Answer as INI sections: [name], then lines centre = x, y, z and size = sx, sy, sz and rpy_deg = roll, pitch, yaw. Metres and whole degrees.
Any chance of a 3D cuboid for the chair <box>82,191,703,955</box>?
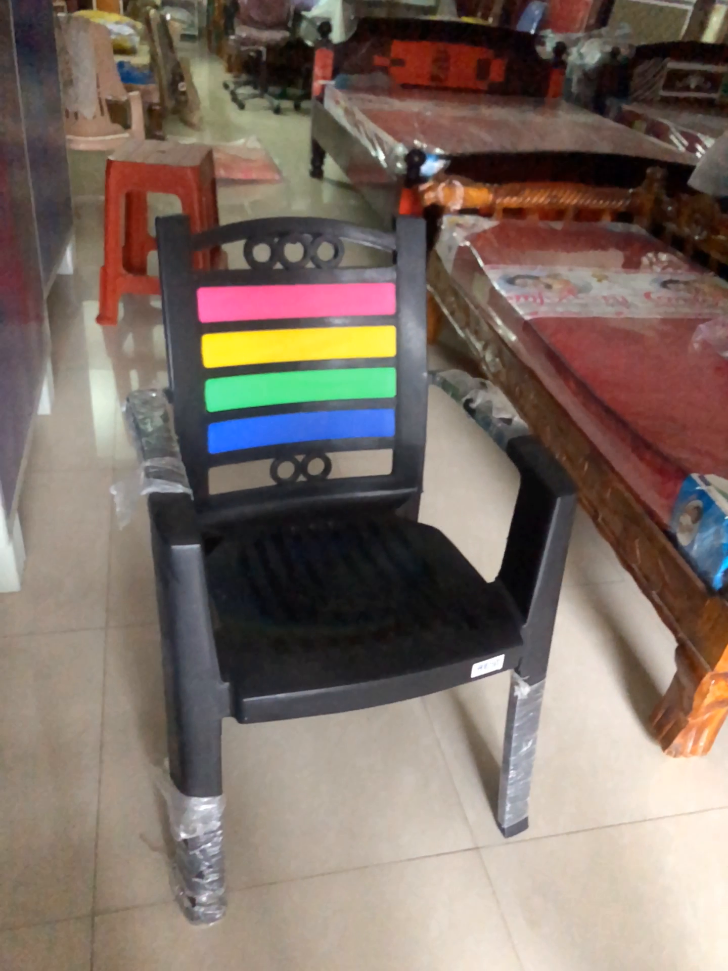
[chair]
centre = -0.064, 0.113, 1.299
size = 0.641, 0.974, 0.612
rpy_deg = -5, 35, -18
